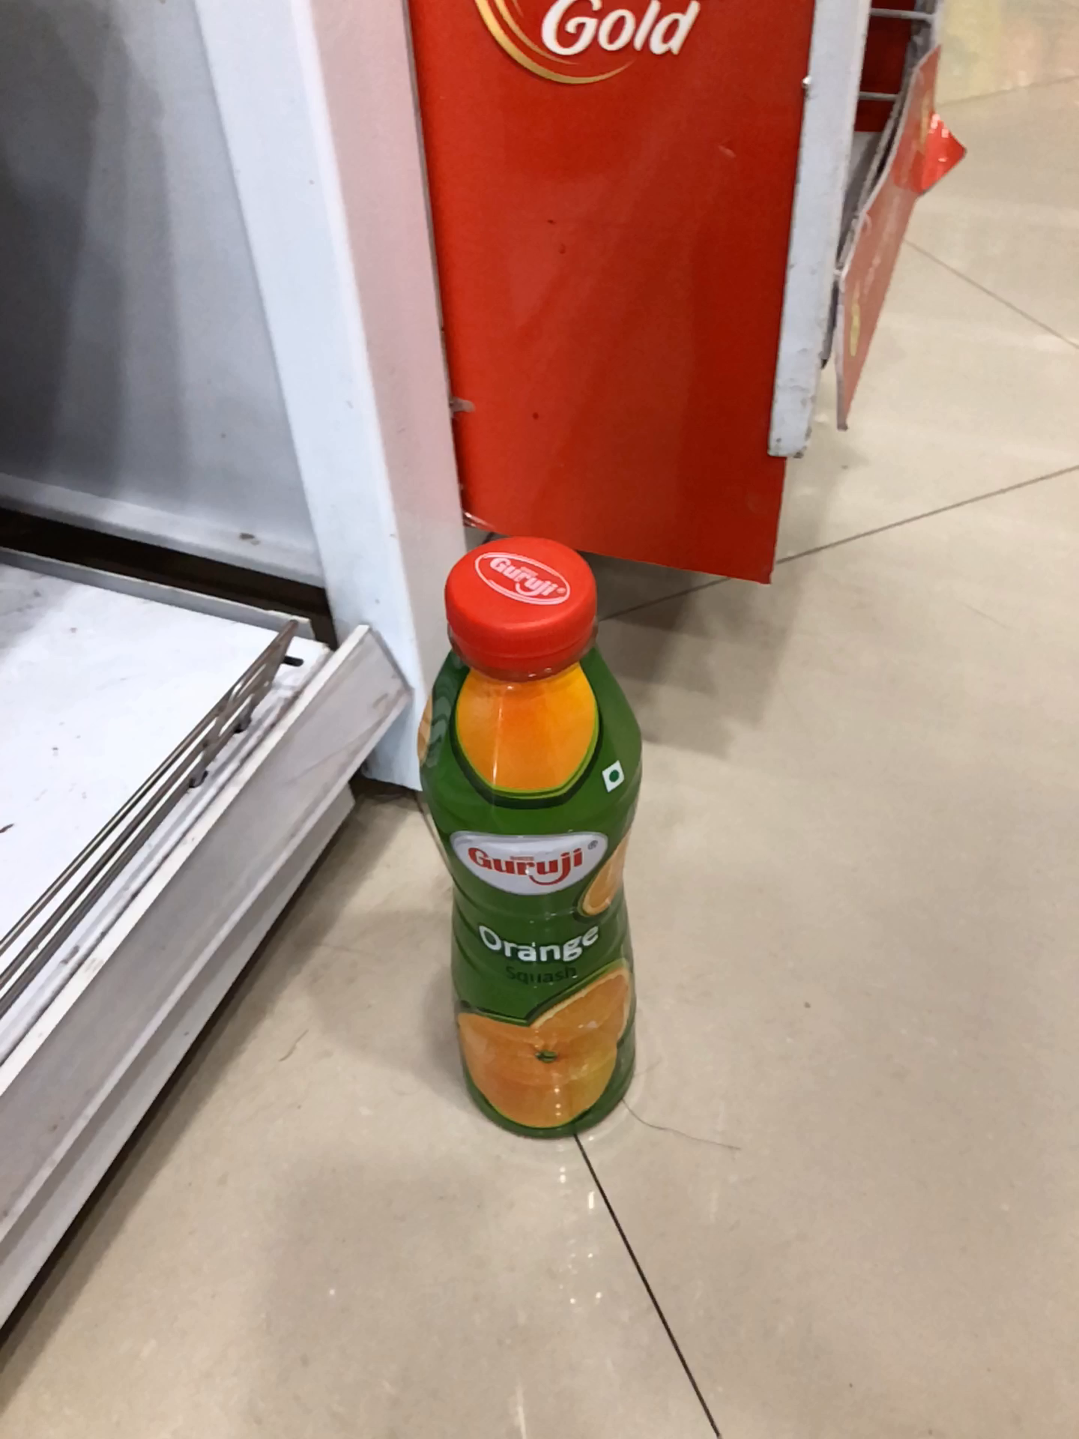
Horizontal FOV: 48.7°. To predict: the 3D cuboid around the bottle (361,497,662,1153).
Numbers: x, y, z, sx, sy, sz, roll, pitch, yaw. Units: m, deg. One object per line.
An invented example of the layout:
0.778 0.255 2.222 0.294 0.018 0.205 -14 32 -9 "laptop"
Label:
-0.001 0.050 0.386 0.070 0.239 0.070 -2 45 2 "bottle"
